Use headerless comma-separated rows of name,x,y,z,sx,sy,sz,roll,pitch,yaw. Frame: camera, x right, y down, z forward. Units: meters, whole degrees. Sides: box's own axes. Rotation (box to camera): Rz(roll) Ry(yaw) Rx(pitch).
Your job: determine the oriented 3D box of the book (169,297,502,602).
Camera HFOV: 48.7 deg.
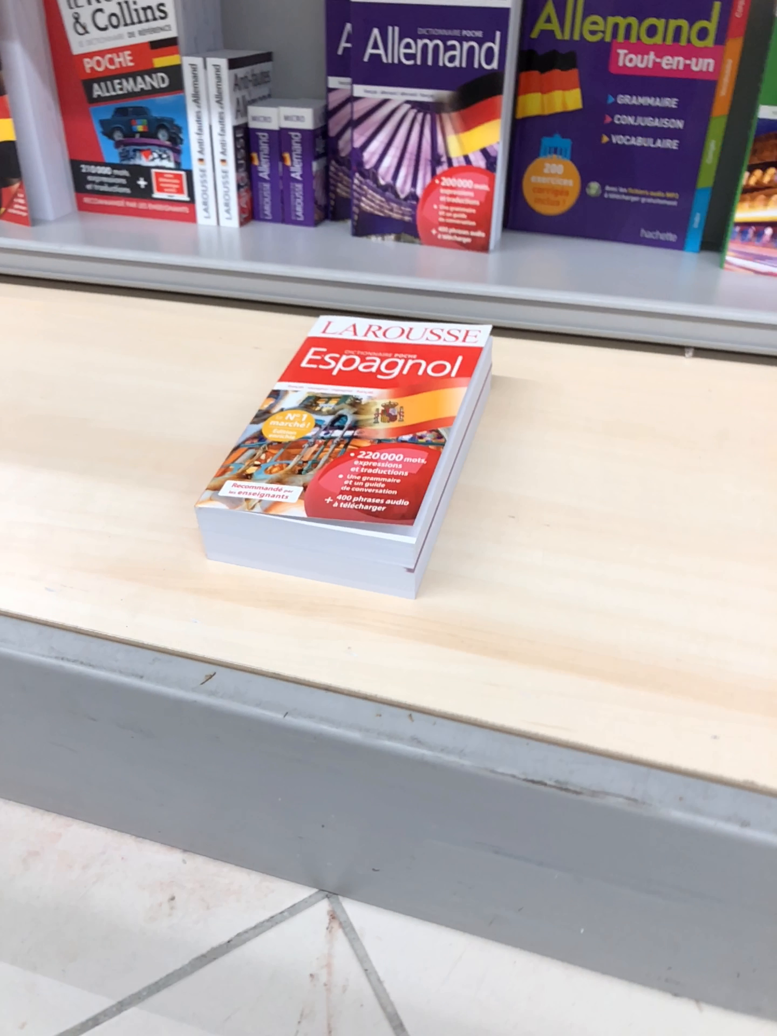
book,-0.016,-0.048,0.452,0.117,0.044,0.183,10,43,13
